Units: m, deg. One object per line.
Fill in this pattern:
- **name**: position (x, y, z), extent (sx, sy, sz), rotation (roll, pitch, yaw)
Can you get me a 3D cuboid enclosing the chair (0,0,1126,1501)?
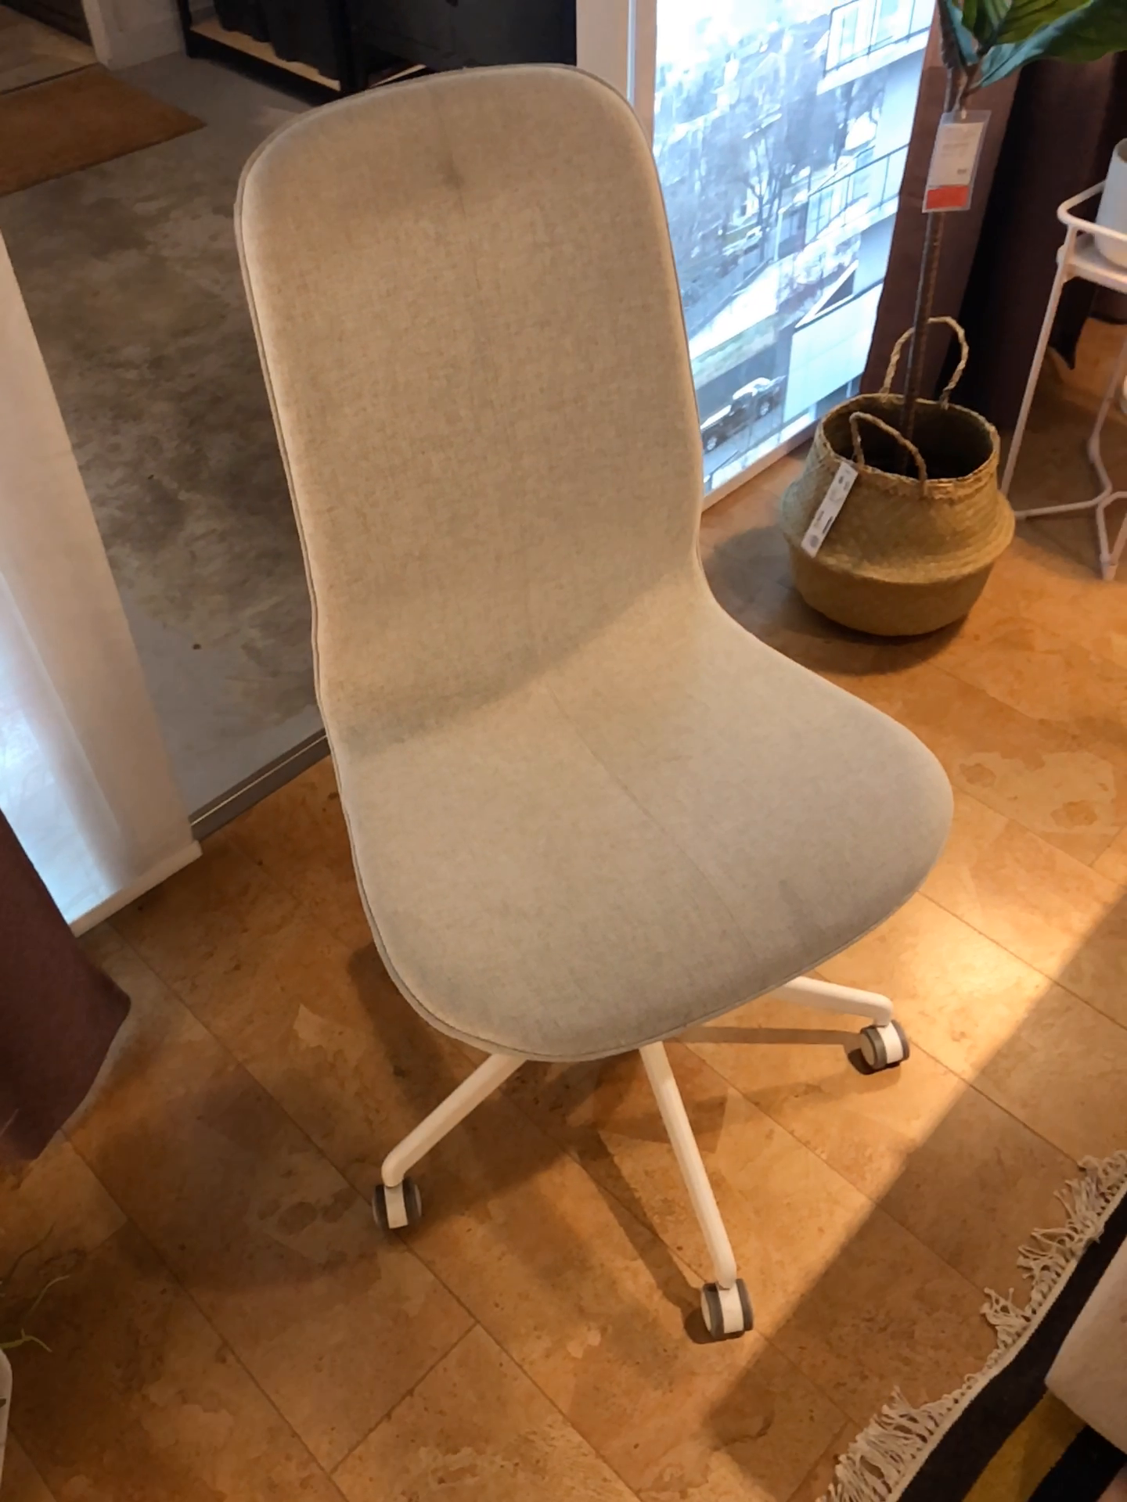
- **chair**: position (0.034, 0.012, 1.079), extent (0.671, 0.937, 0.692), rotation (-27, 51, -22)
